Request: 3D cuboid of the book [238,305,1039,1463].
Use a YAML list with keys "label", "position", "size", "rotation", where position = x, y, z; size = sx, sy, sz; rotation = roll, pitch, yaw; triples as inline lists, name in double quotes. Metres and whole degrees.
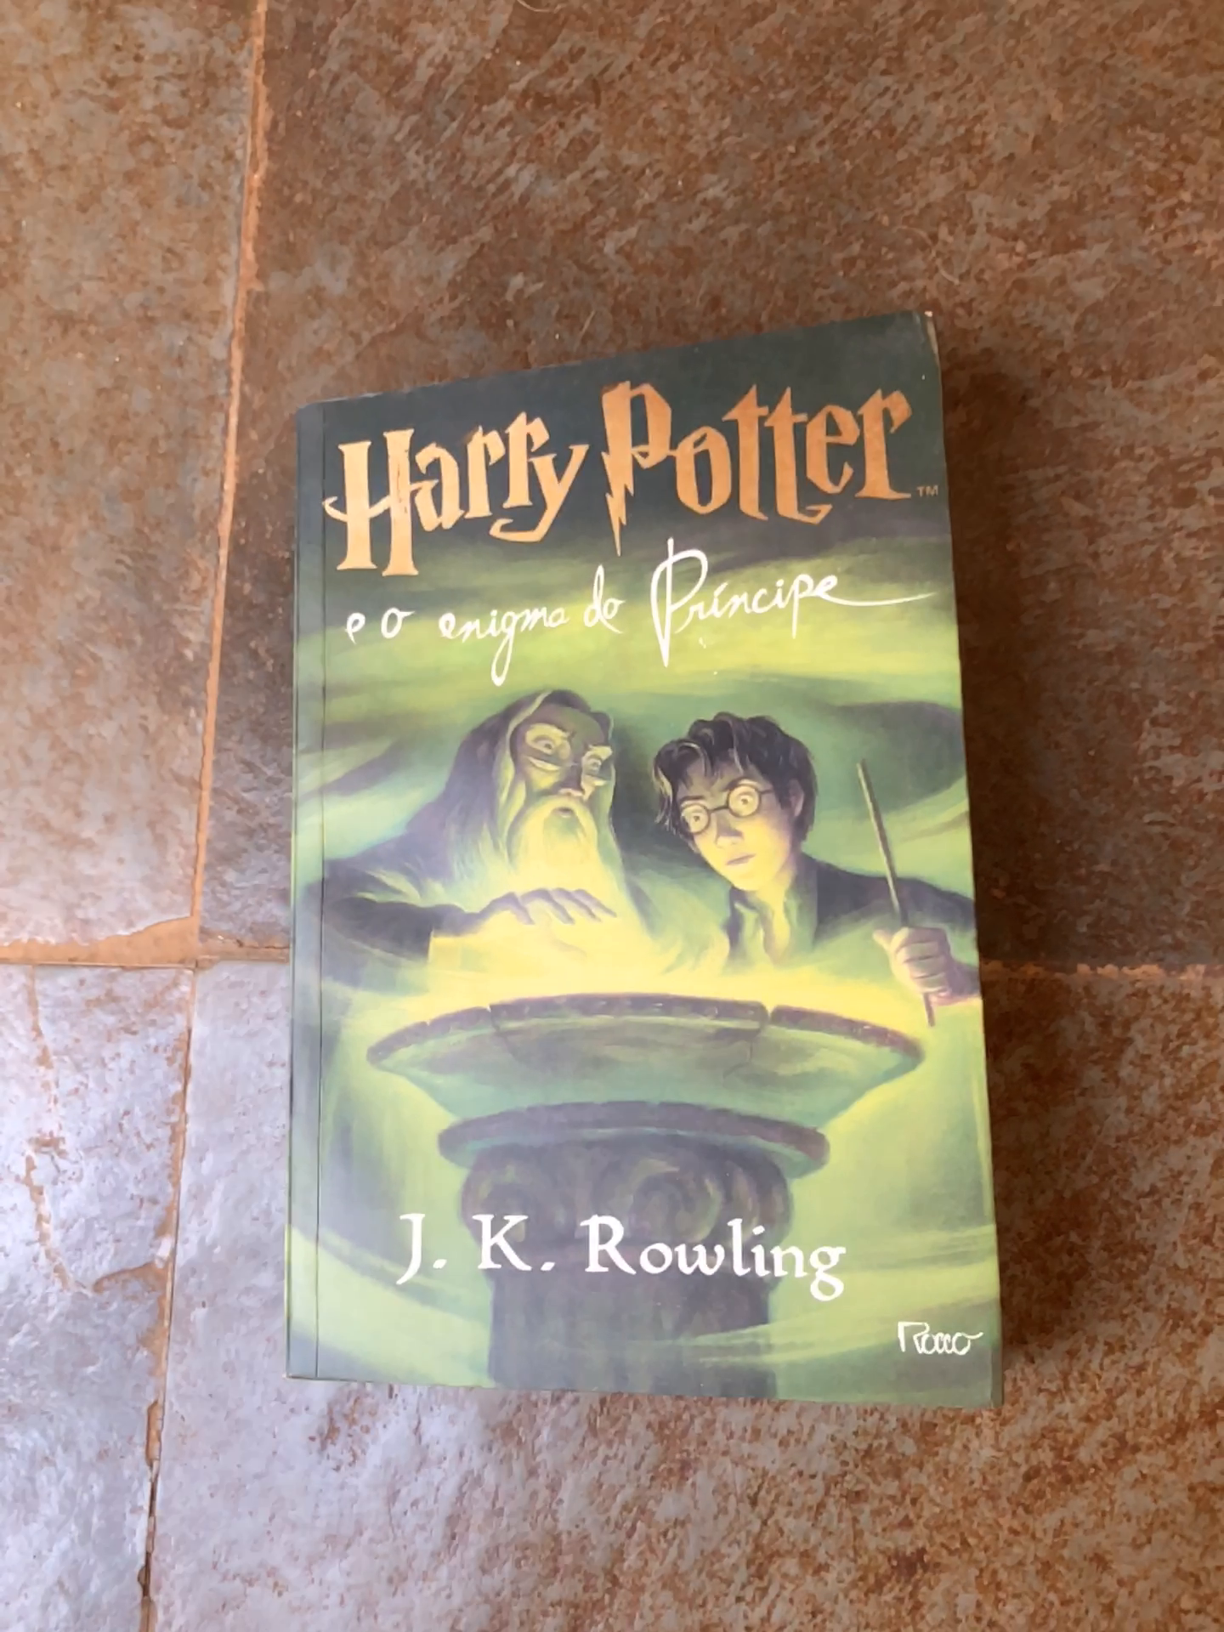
- label: "book"
  position: [0.002, 0.011, 0.265]
  size: [0.142, 0.030, 0.200]
  rotation: [-3, 82, 13]
